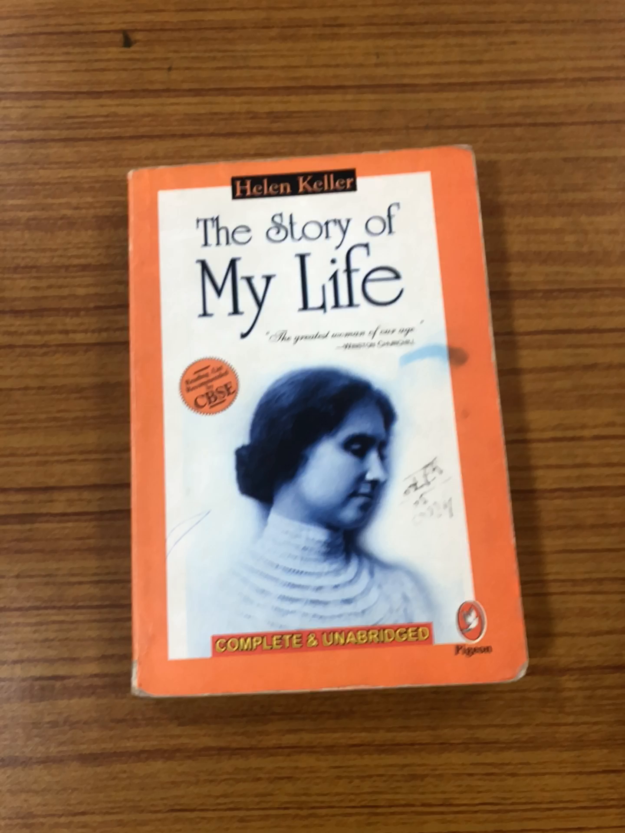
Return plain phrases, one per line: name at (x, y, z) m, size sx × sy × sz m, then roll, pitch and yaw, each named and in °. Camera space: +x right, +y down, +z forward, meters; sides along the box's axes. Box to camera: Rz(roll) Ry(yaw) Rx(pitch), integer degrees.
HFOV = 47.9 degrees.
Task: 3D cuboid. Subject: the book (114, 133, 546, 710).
book at (0.001, -0.002, 0.227) m, size 0.120 × 0.030 × 0.170 m, roll -3°, pitch 80°, yaw 0°
